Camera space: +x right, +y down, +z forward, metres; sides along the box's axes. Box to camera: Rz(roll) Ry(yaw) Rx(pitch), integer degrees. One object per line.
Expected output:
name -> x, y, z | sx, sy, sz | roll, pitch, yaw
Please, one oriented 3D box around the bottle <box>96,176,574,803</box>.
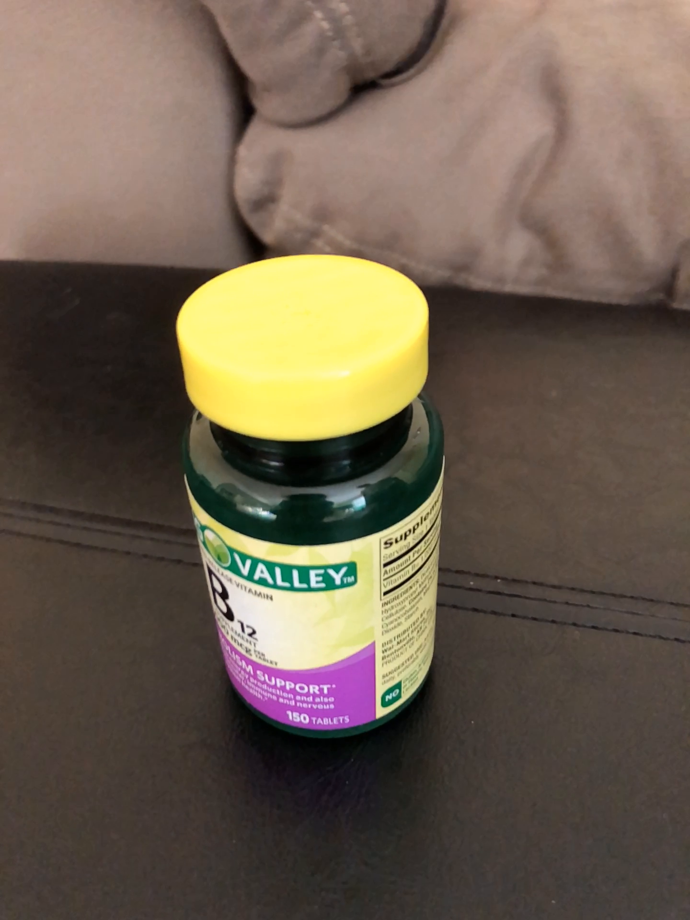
bottle -> -0.001, 0.005, 0.143 | 0.050, 0.090, 0.050 | -1, 38, 1
